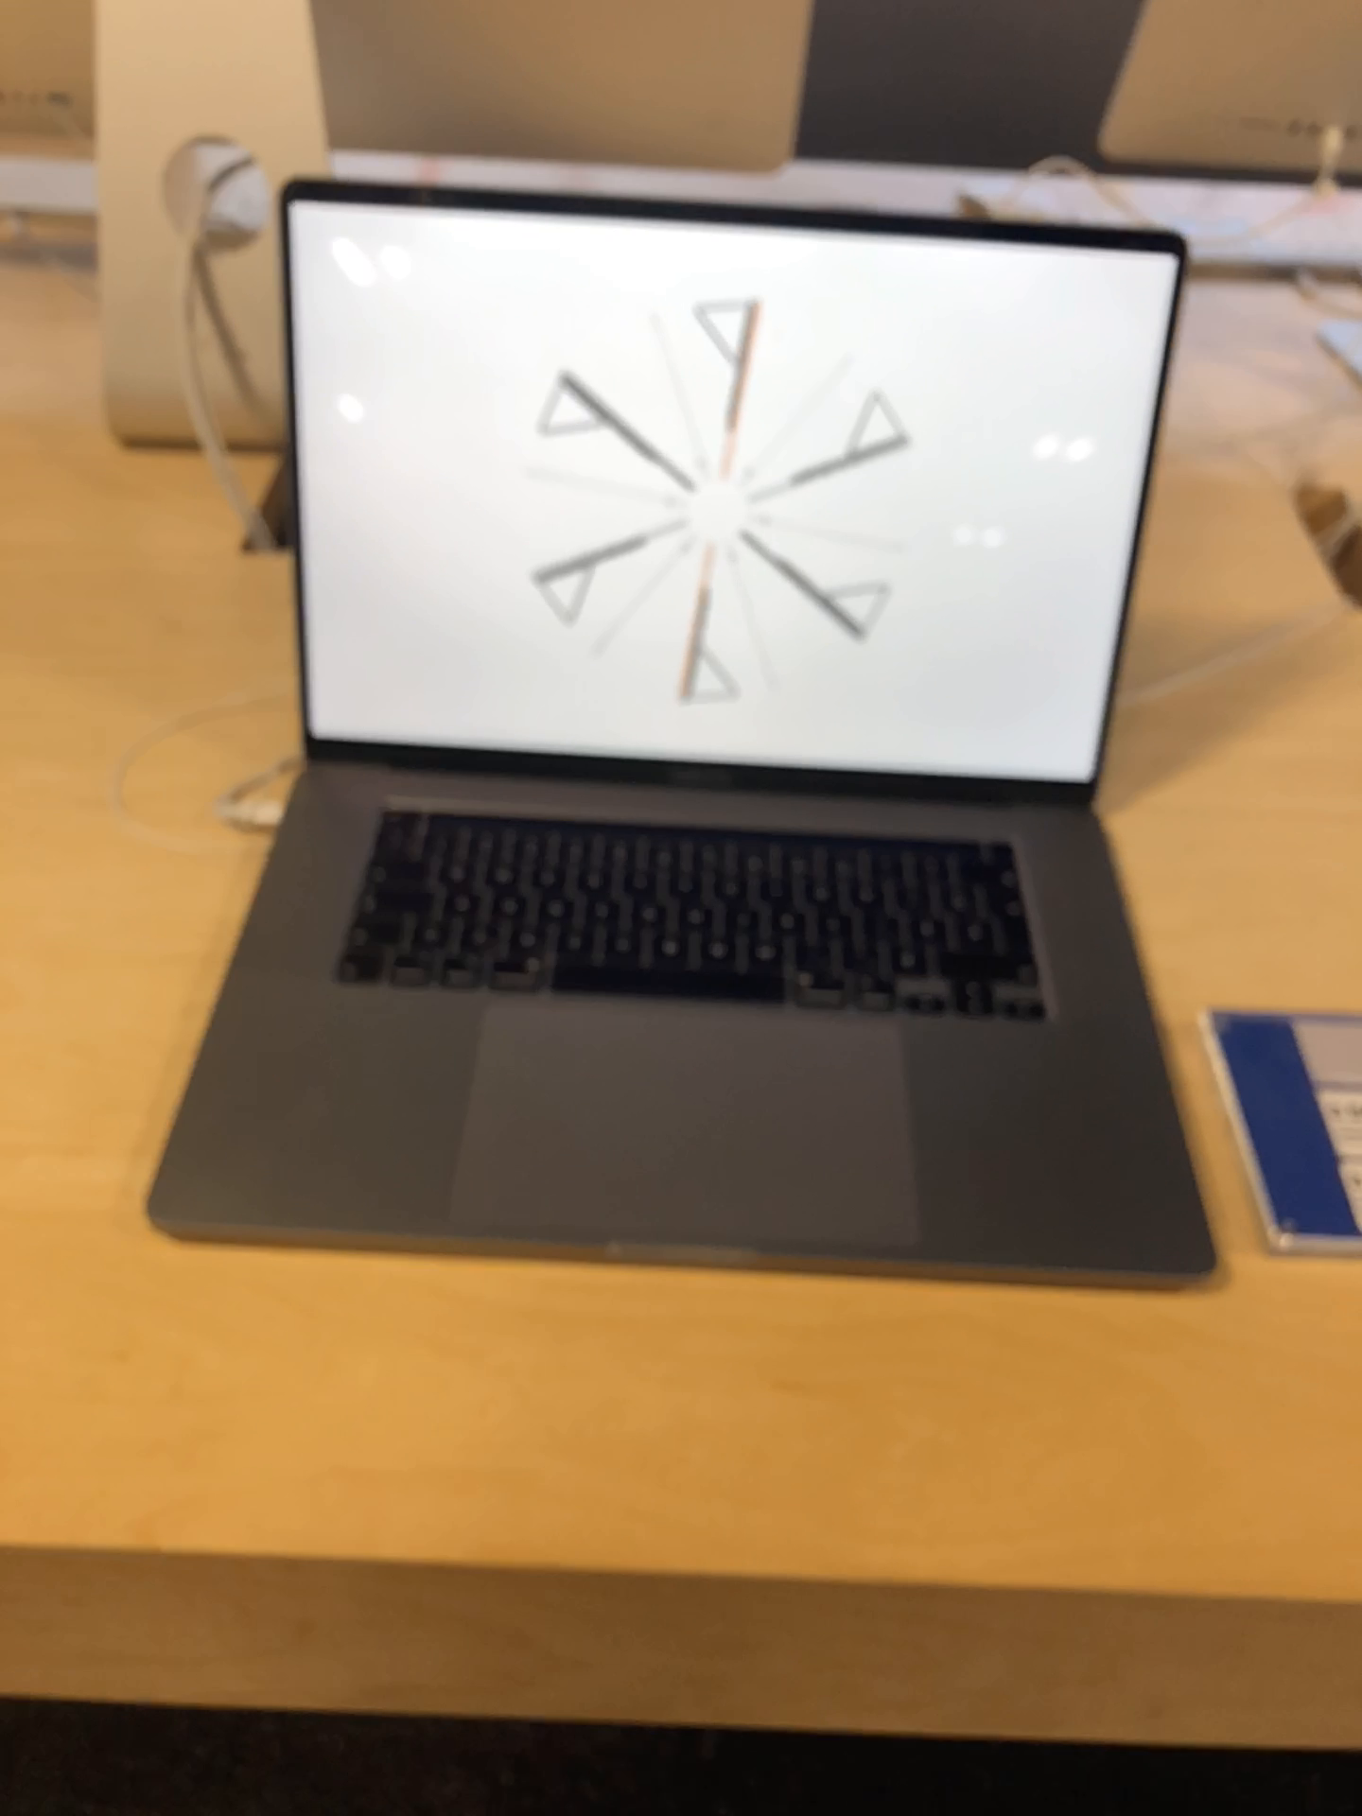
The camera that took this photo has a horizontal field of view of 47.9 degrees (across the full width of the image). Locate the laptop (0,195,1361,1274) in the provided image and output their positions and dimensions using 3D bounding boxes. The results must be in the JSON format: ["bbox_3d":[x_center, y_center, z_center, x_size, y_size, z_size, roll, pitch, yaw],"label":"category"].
[{"bbox_3d":[0.011,-0.076,0.556,0.352,0.230,0.316,3,42,-1],"label":"laptop"}]
